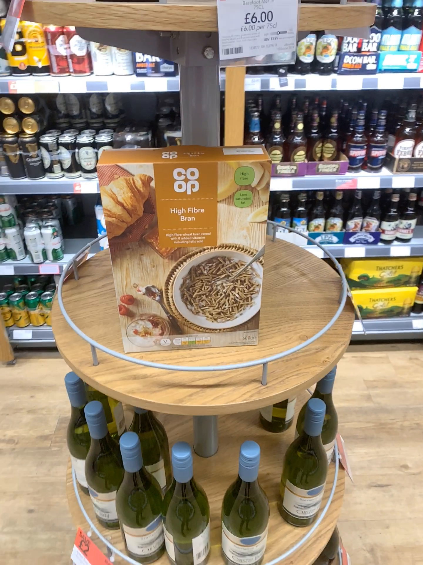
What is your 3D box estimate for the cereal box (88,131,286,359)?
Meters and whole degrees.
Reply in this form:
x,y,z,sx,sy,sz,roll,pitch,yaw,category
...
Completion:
x,y,z,sx,sy,sz,roll,pitch,yaw,category
-0.025,-0.035,0.539,0.200,0.277,0.061,-3,33,-4,cereal box
